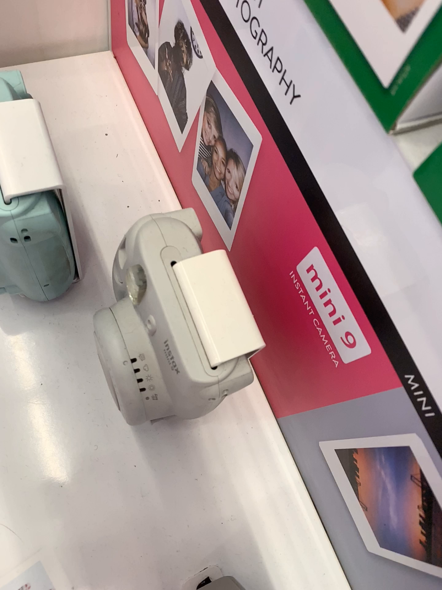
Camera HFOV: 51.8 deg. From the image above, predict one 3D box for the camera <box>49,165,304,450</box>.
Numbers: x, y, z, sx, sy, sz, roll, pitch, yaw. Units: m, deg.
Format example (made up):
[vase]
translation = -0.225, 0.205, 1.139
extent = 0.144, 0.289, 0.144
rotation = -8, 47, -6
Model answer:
[camera]
translation = -0.031, 0.014, 0.252
extent = 0.080, 0.110, 0.110
rotation = -18, 75, -18
